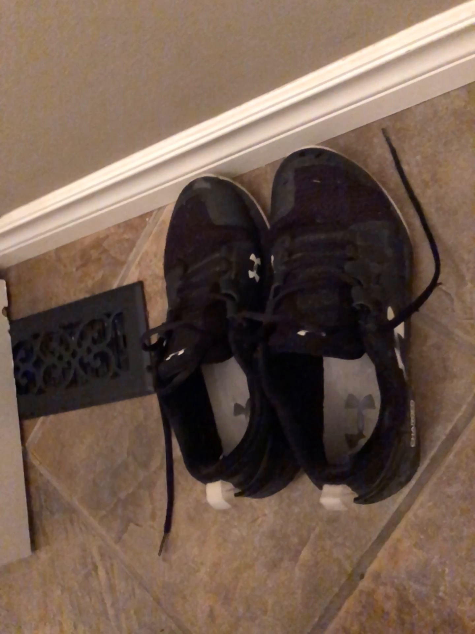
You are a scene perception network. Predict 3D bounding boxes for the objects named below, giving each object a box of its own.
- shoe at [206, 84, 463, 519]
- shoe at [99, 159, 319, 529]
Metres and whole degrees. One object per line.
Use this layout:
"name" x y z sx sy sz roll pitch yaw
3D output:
"shoe" 0.066 -0.005 0.364 0.110 0.100 0.250 -14 77 25
"shoe" -0.024 0.025 0.420 0.110 0.100 0.250 -14 77 25
